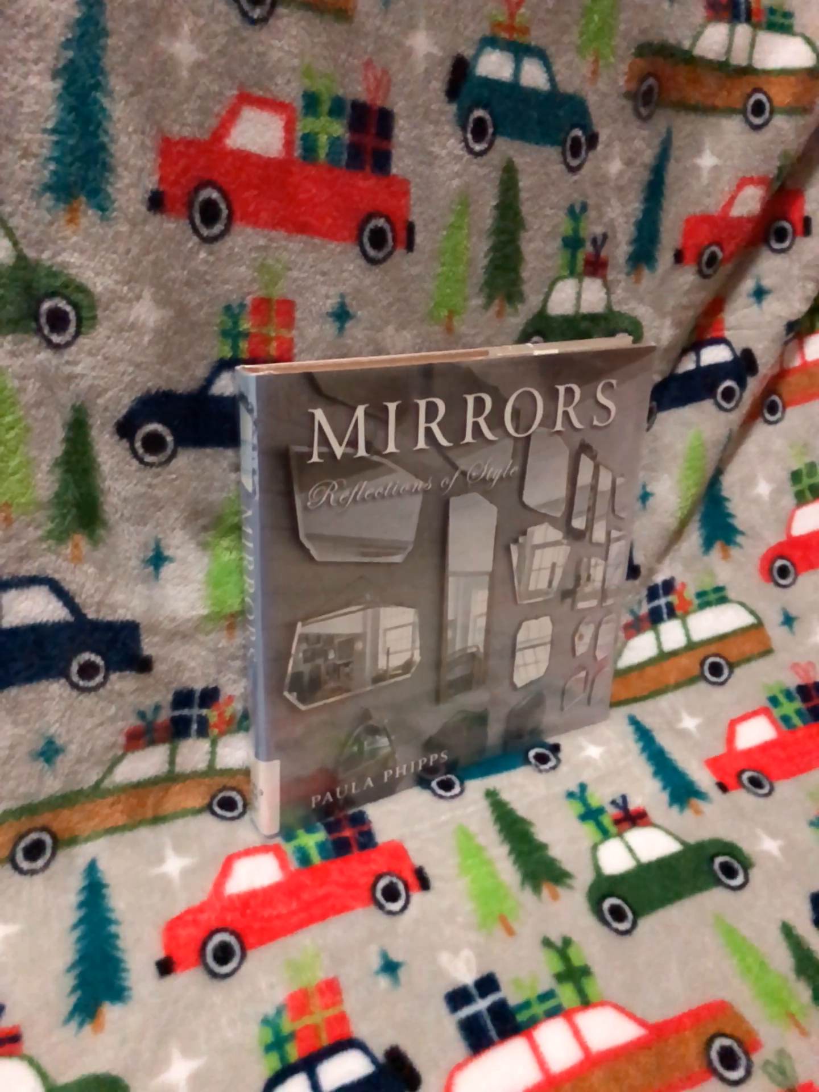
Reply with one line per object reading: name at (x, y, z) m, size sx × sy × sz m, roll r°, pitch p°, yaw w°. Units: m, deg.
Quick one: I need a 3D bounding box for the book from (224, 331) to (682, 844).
book at (0.026, 0.011, 0.431) m, size 0.223 × 0.208 × 0.030 m, roll -11°, pitch 26°, yaw -32°
